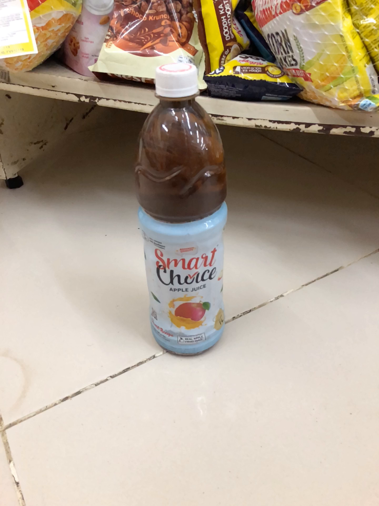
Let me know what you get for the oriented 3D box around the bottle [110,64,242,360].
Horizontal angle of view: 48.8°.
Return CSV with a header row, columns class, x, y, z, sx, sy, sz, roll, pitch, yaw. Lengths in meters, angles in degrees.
class,x,y,z,sx,sy,sz,roll,pitch,yaw
bottle,-0.005,-0.020,0.361,0.080,0.248,0.081,-1,38,1
